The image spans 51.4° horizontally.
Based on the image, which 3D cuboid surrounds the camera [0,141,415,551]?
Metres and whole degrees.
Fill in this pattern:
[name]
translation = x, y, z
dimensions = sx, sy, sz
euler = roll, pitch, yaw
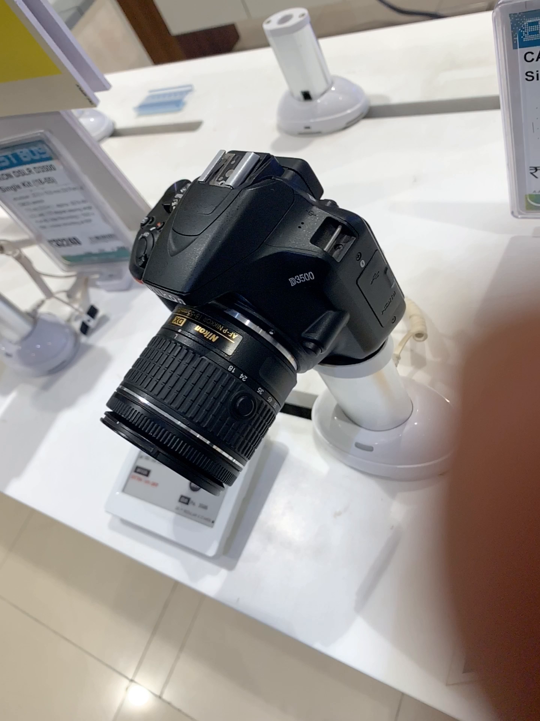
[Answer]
[camera]
translation = -0.025, -0.010, 0.222
dimensions = 0.110, 0.090, 0.103
euler = 23, 70, 37
